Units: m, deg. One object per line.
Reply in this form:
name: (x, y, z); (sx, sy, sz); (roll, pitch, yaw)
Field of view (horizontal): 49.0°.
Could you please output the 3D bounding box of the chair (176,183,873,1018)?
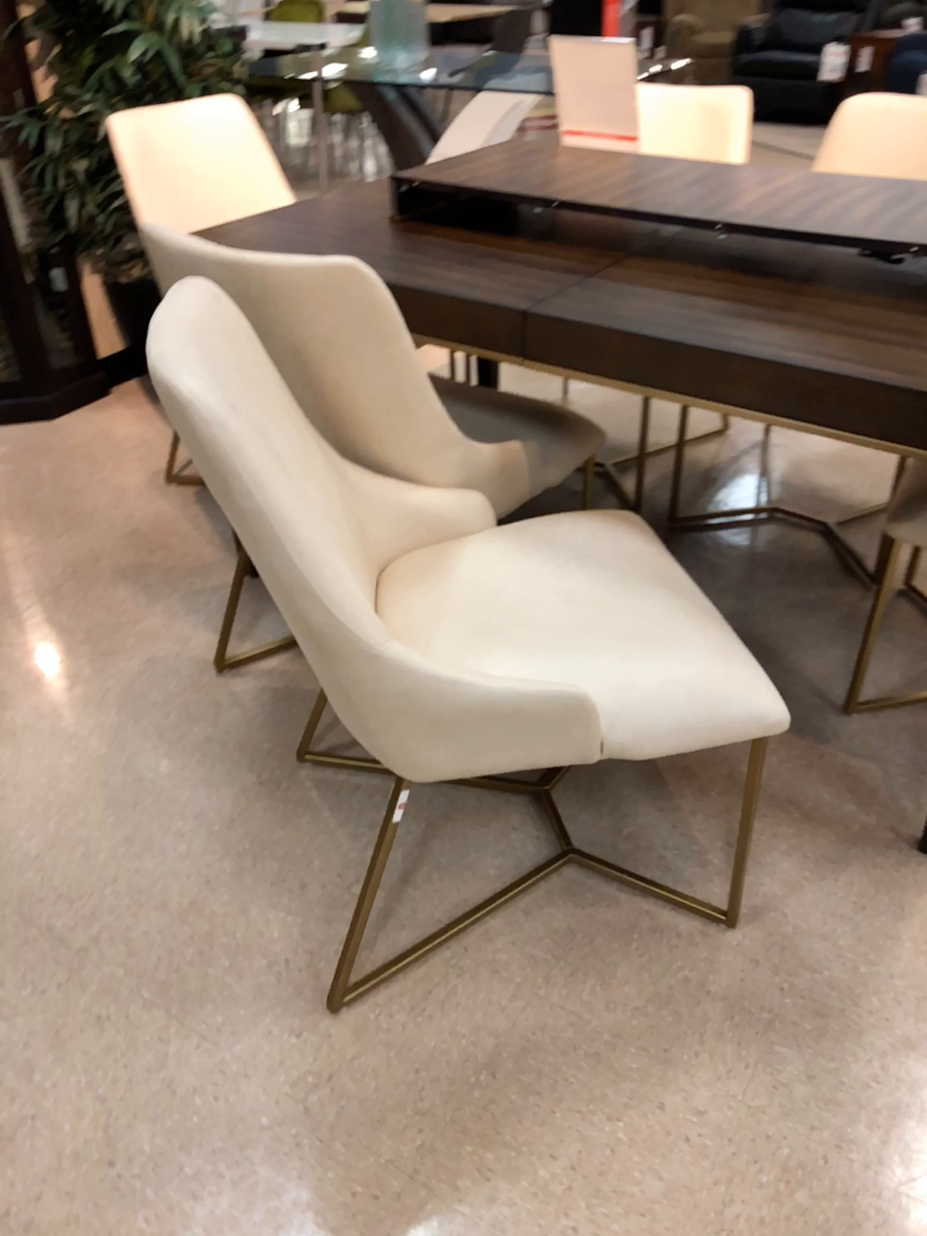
chair: (0.028, -0.032, 1.378); (0.640, 0.904, 0.544); (-8, 34, -9)
